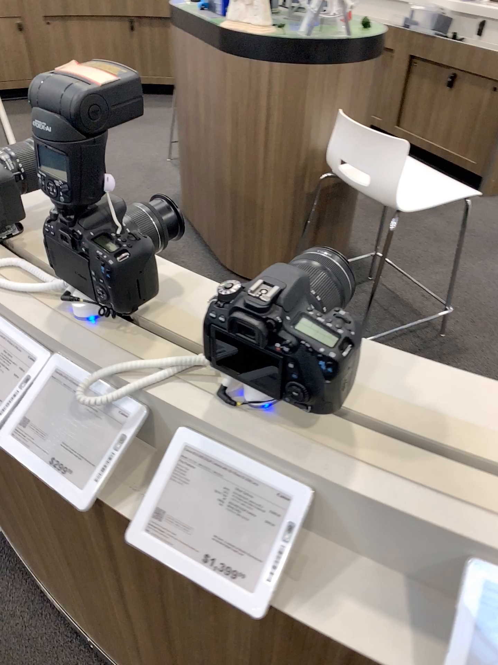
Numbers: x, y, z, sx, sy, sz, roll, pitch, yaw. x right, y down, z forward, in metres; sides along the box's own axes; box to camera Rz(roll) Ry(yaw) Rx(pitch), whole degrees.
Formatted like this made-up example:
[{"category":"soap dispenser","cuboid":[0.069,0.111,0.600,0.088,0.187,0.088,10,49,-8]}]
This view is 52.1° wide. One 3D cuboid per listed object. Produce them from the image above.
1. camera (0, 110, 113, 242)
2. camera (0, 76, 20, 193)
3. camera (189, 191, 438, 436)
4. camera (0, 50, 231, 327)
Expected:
[{"category":"camera","cuboid":[-0.332,-0.238,0.749,0.140,0.099,0.201,29,47,29]},{"category":"camera","cuboid":[-0.515,-0.341,0.863,0.170,0.119,0.151,-27,48,-30]},{"category":"camera","cuboid":[0.062,-0.032,0.468,0.140,0.099,0.191,24,45,24]},{"category":"camera","cuboid":[-0.133,-0.163,0.562,0.150,0.219,0.170,29,47,28]}]
